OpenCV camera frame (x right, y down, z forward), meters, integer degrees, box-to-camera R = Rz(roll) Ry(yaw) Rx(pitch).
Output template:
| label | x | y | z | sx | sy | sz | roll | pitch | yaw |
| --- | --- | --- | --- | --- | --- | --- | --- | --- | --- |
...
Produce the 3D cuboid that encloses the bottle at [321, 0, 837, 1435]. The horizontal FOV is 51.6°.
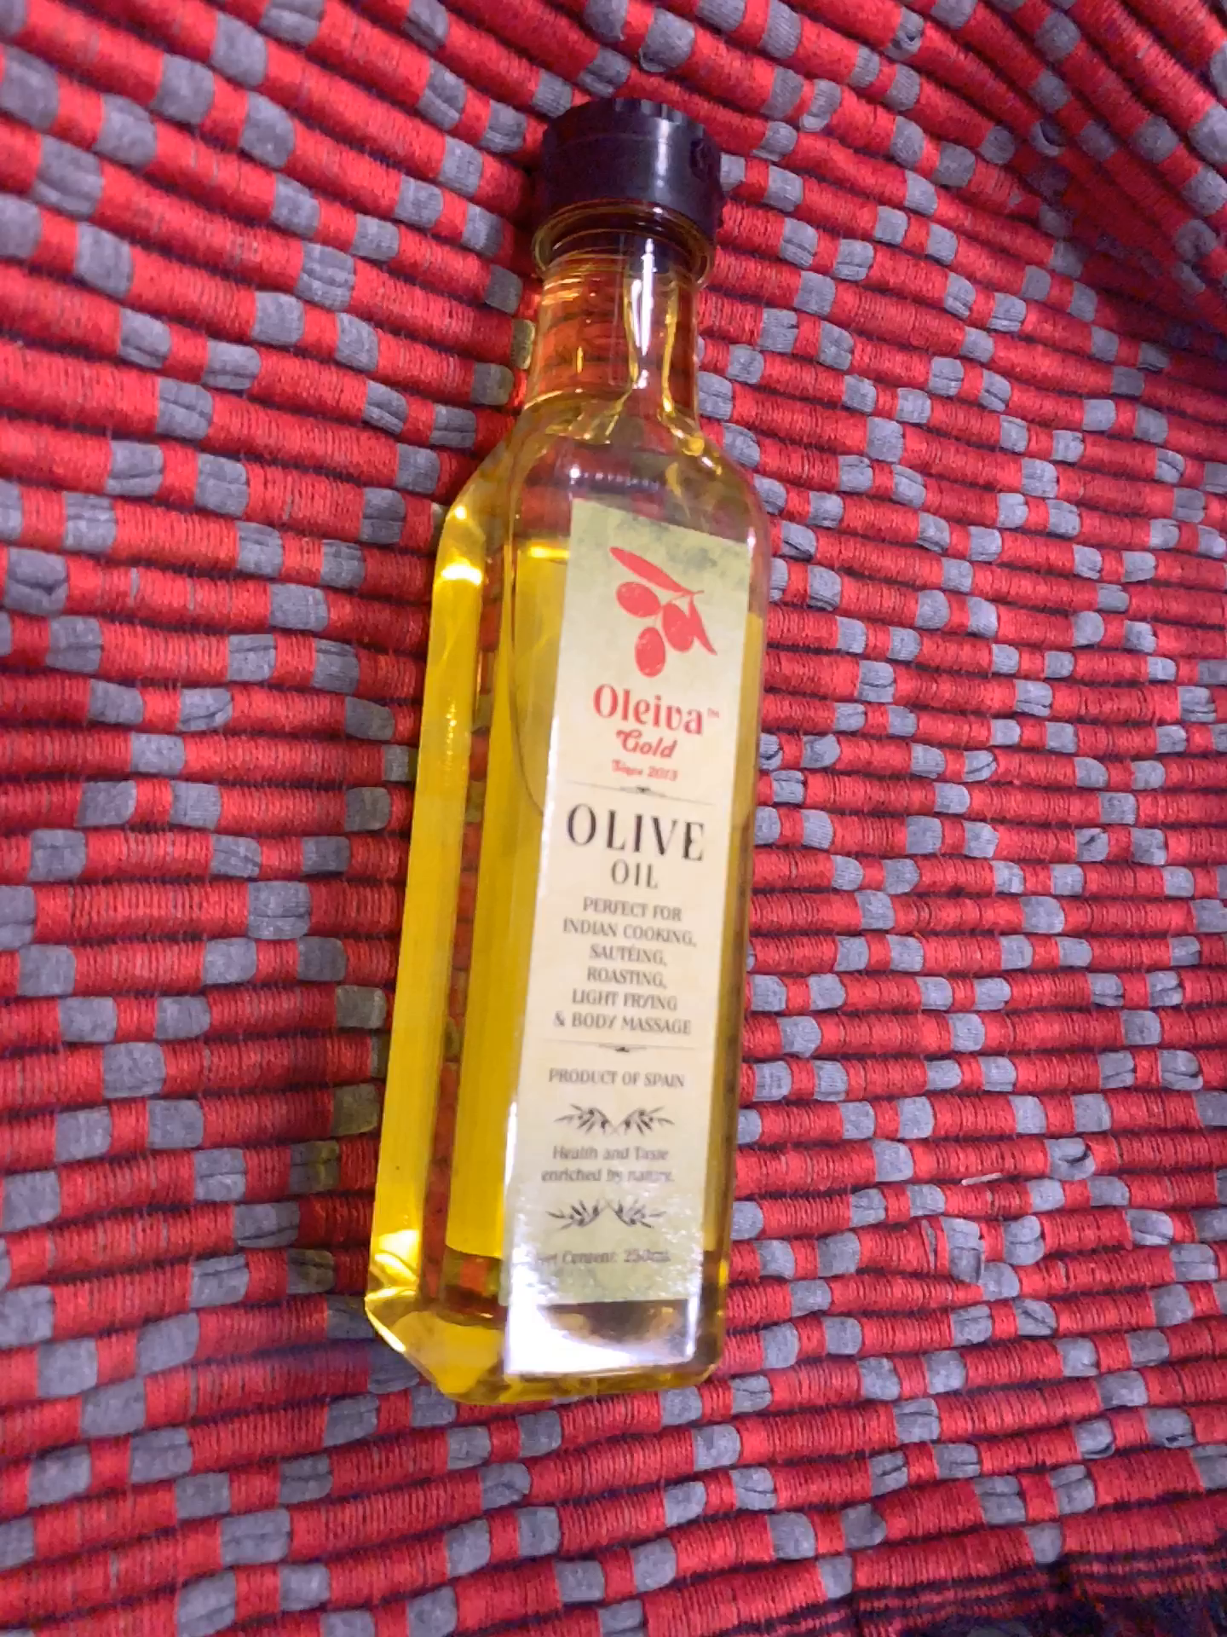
| label | x | y | z | sx | sy | sz | roll | pitch | yaw |
| --- | --- | --- | --- | --- | --- | --- | --- | --- | --- |
| bottle | -0.005 | -0.026 | 0.197 | 0.050 | 0.050 | 0.210 | 7 | 81 | -26 |
